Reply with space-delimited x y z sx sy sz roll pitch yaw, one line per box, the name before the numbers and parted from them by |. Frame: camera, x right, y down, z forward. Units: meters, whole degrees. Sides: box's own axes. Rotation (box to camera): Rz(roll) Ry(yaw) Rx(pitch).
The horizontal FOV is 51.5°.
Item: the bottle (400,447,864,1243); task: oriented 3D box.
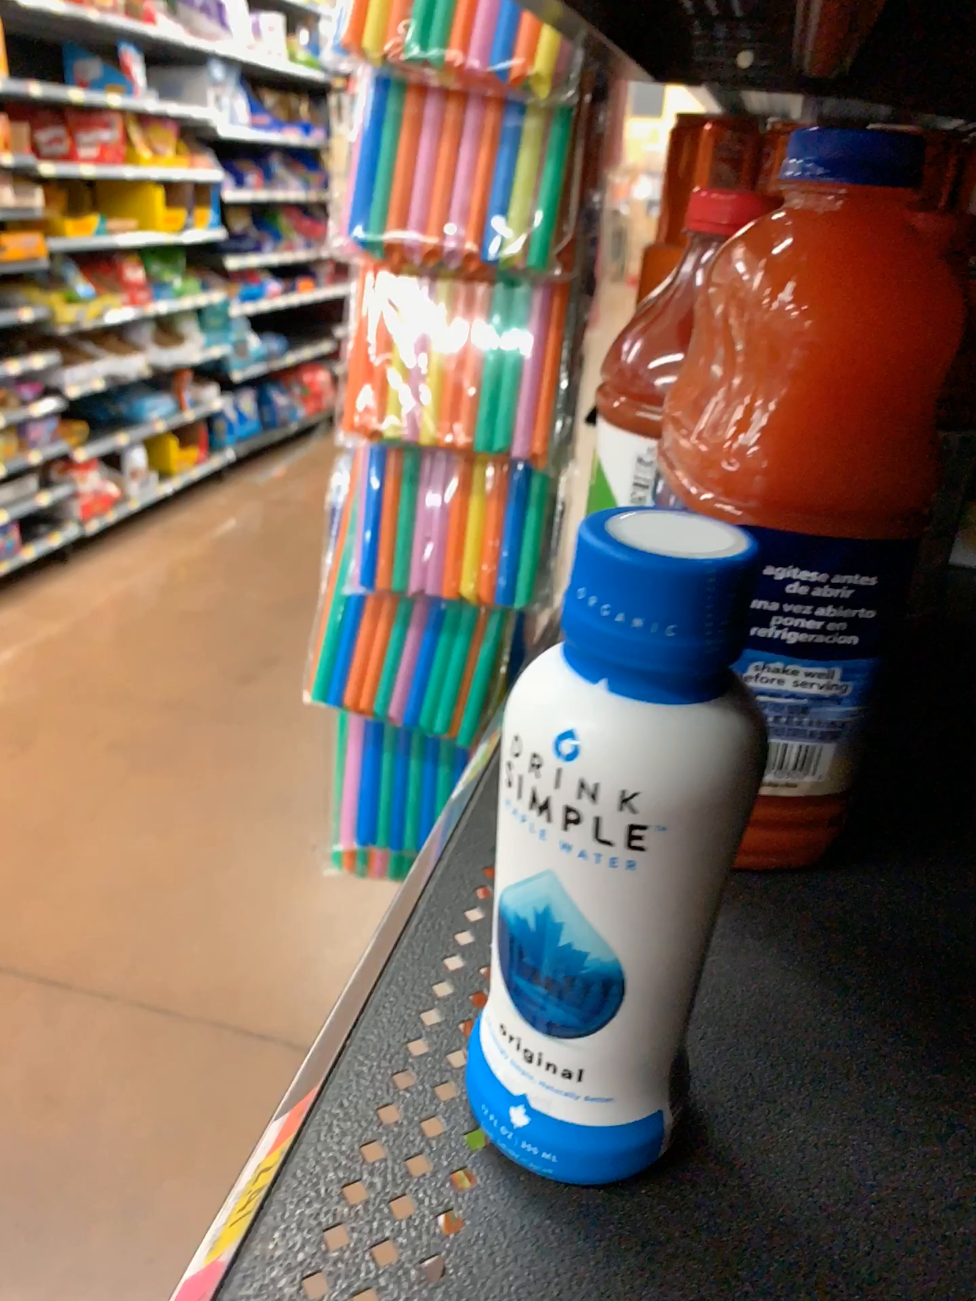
bottle | 0.029 0.045 0.251 0.070 0.169 0.066 3 25 -2
